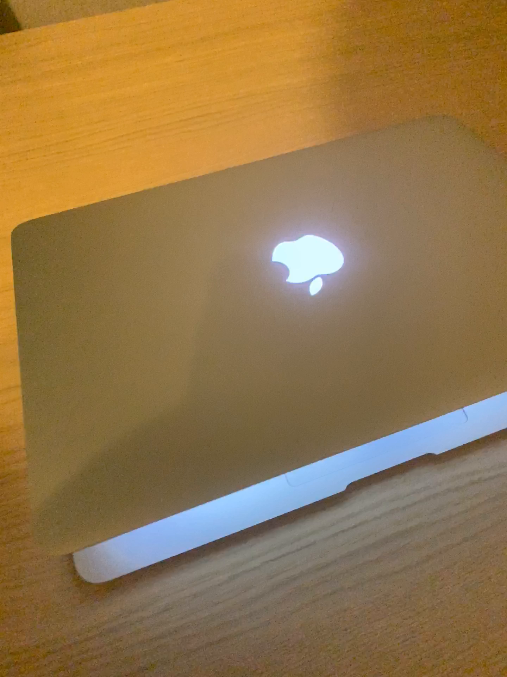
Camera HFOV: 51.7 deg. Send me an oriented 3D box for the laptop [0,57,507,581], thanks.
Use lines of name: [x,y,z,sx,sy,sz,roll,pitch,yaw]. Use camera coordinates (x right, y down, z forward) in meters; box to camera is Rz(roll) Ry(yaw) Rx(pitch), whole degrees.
laptop: [0.033,-0.039,0.297,0.320,0.048,0.218,-18,62,-9]
